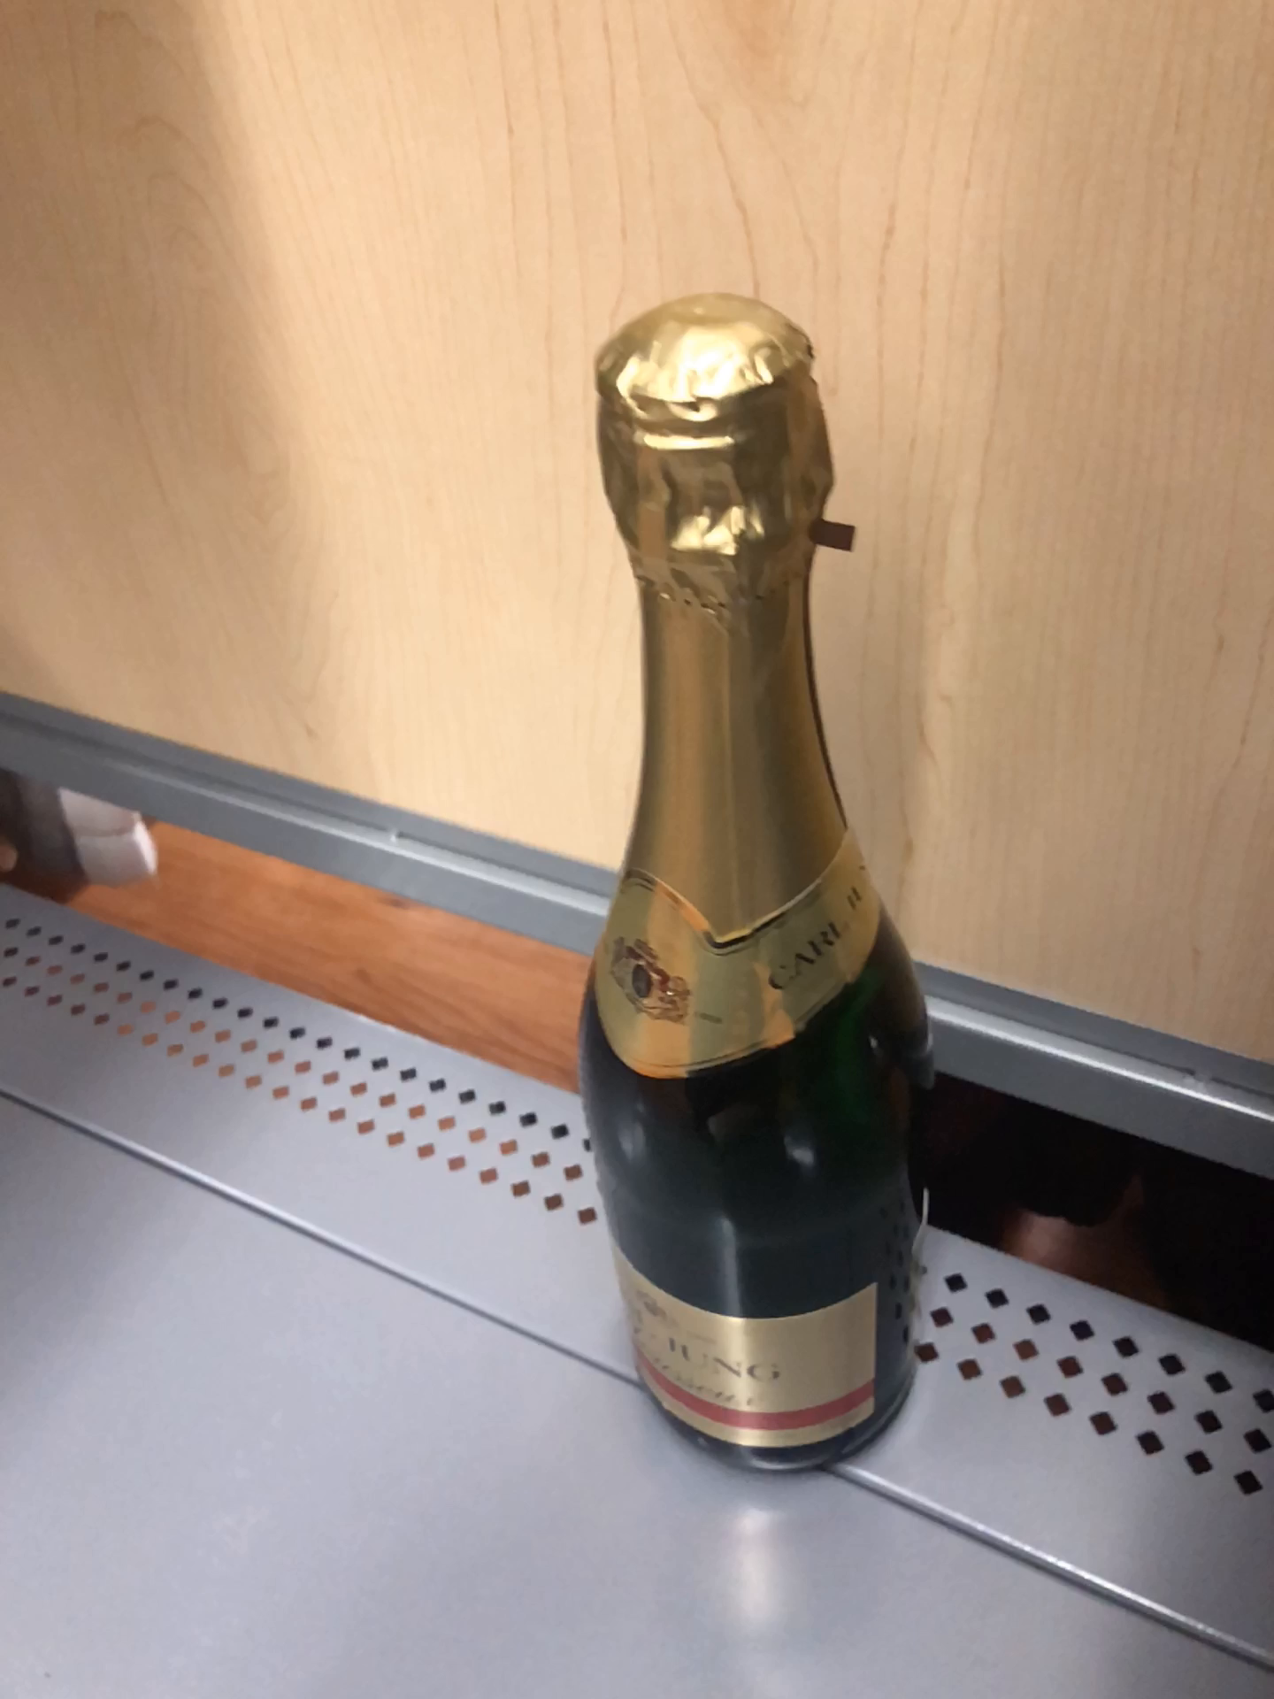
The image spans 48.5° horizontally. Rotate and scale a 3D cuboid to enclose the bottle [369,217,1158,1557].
[{"bbox_3d":[0.030,0.032,0.324,0.090,0.298,0.091,-4,40,3],"label":"bottle"}]
